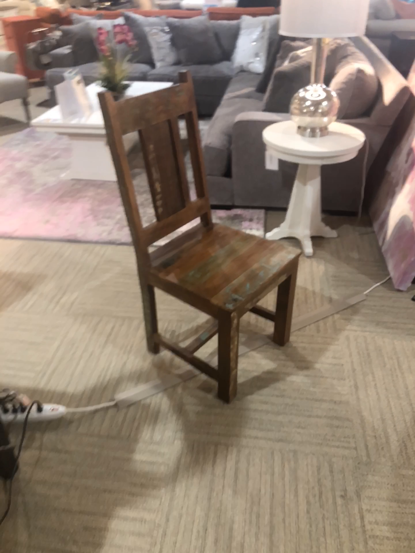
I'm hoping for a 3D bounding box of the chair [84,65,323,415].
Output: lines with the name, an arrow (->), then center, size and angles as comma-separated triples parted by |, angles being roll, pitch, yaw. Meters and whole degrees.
chair -> 0.006, -0.128, 1.616 | 0.511, 1.024, 0.477 | 23, 41, 31
